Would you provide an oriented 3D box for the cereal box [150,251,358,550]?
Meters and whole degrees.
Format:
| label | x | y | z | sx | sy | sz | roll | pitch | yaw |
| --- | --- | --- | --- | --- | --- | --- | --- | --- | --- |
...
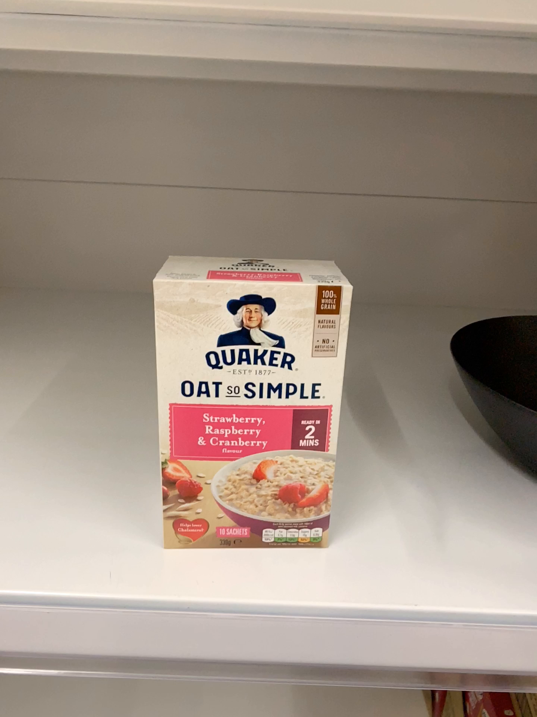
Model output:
| label | x | y | z | sx | sy | sz | roll | pitch | yaw |
| --- | --- | --- | --- | --- | --- | --- | --- | --- | --- |
| cereal box | -0.015 | 0.033 | 0.422 | 0.130 | 0.208 | 0.081 | 1 | 21 | -5 |
